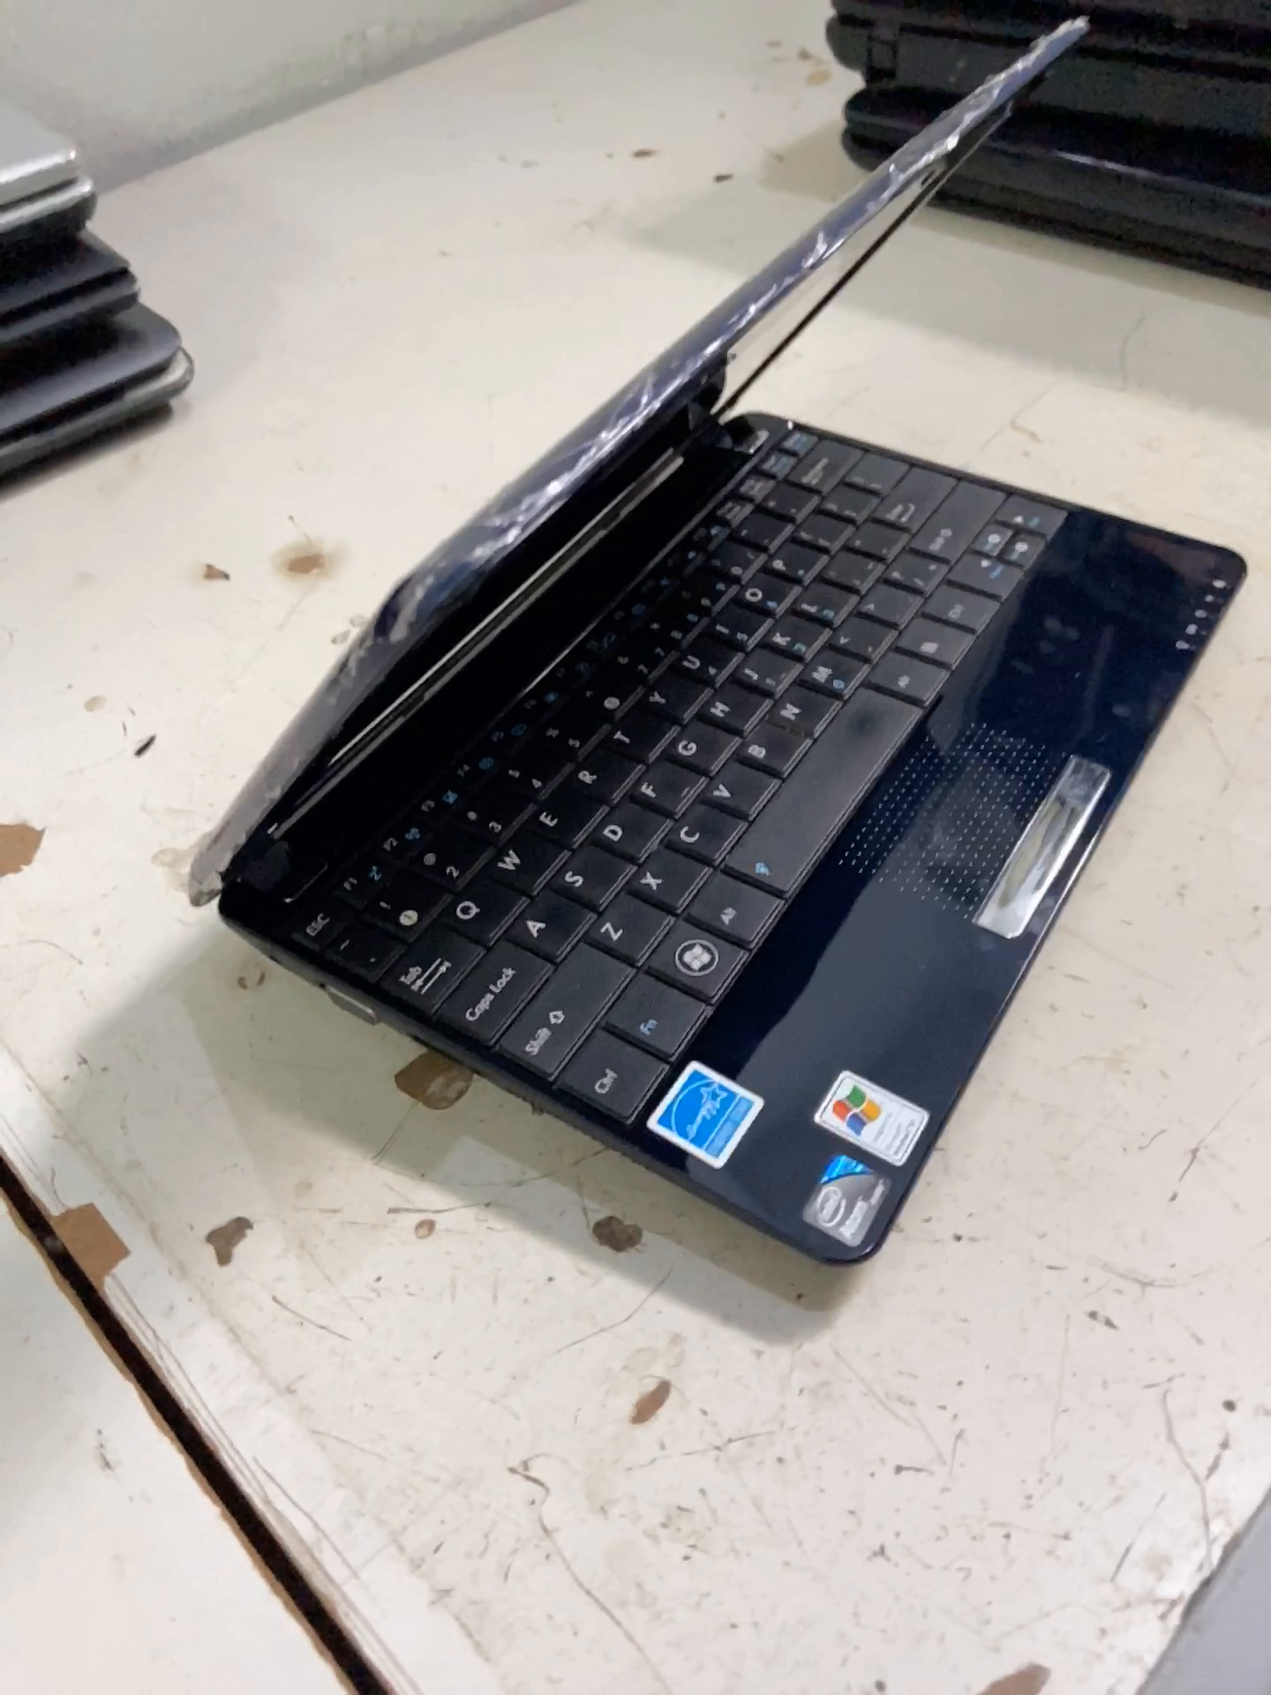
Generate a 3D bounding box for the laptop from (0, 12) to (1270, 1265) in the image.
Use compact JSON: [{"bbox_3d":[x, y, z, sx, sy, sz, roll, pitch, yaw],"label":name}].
[{"bbox_3d":[0.031,-0.078,0.311,0.169,0.121,0.260,23,53,23],"label":"laptop"}]
